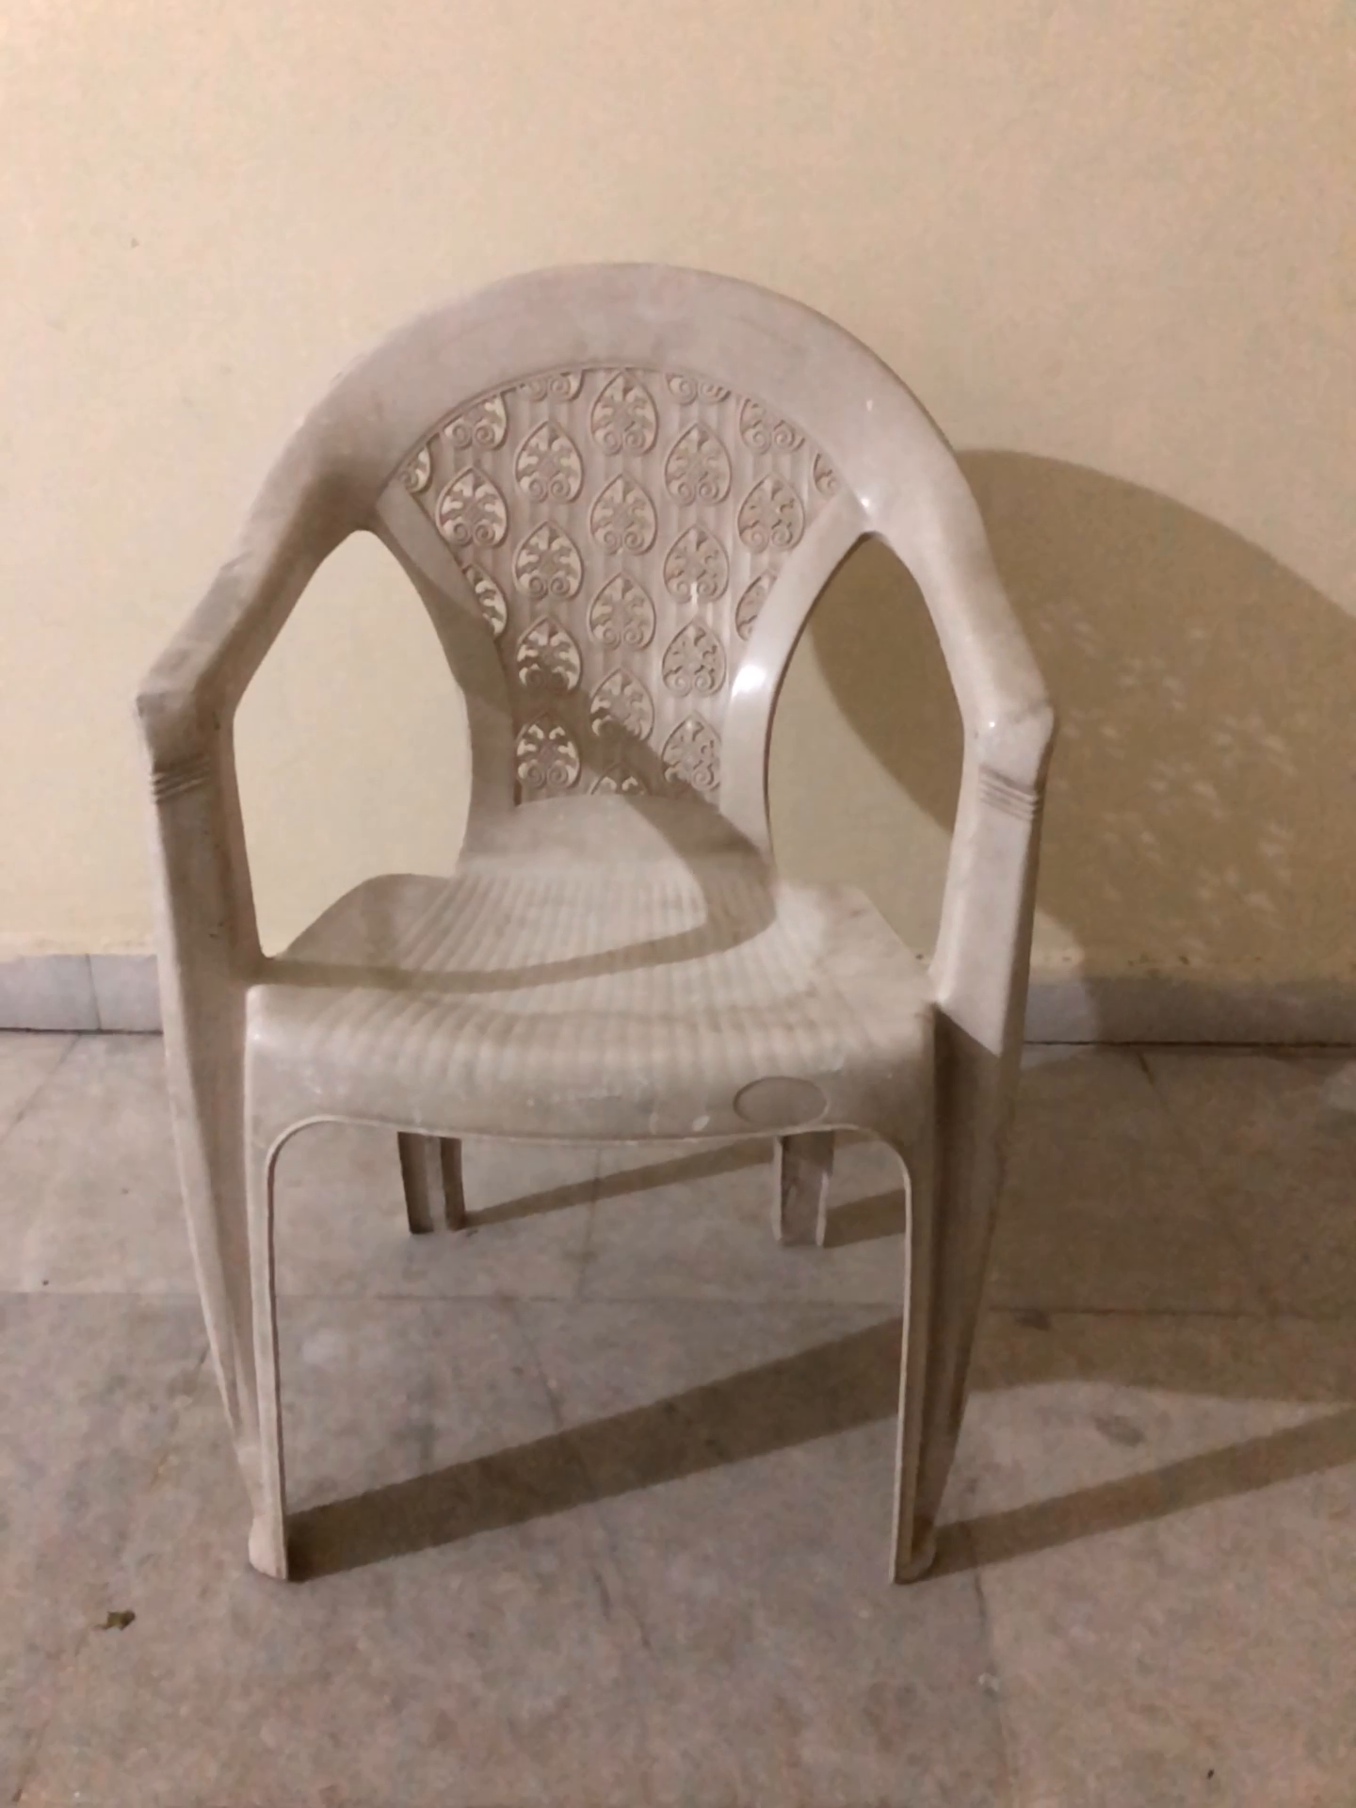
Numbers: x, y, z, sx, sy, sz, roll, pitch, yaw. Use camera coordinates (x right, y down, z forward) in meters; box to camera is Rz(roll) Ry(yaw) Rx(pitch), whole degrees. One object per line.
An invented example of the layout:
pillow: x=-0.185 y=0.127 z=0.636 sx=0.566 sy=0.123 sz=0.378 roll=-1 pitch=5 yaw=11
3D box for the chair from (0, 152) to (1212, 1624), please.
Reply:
chair: x=-0.044 y=-0.033 z=1.013 sx=0.530 sy=0.835 sz=0.513 roll=1 pitch=24 yaw=1
